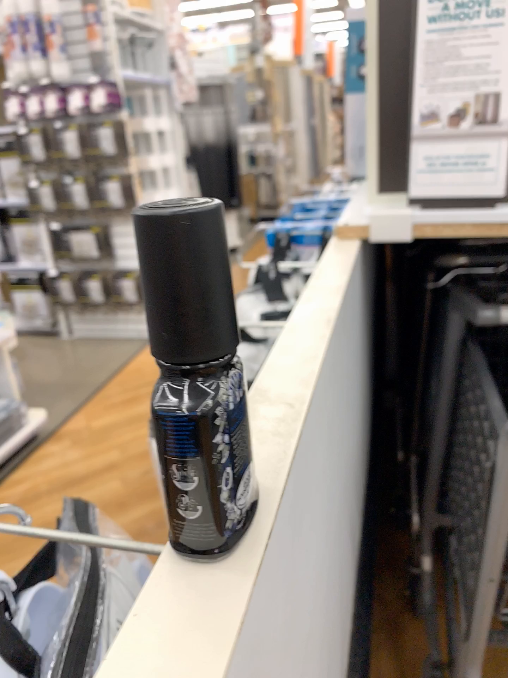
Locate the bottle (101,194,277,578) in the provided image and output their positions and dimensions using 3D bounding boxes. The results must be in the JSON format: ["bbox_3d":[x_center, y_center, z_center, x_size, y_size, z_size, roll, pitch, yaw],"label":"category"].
[{"bbox_3d":[-0.016,0.016,0.190,0.032,0.123,0.050,1,22,15],"label":"bottle"}]
